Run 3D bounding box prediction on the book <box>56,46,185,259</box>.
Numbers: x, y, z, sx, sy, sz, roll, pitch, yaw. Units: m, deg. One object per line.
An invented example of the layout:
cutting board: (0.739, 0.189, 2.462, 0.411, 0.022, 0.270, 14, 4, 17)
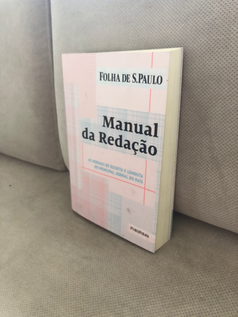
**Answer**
book: (-0.008, -0.015, 0.342, 0.167, 0.228, 0.040, 16, 24, 41)
